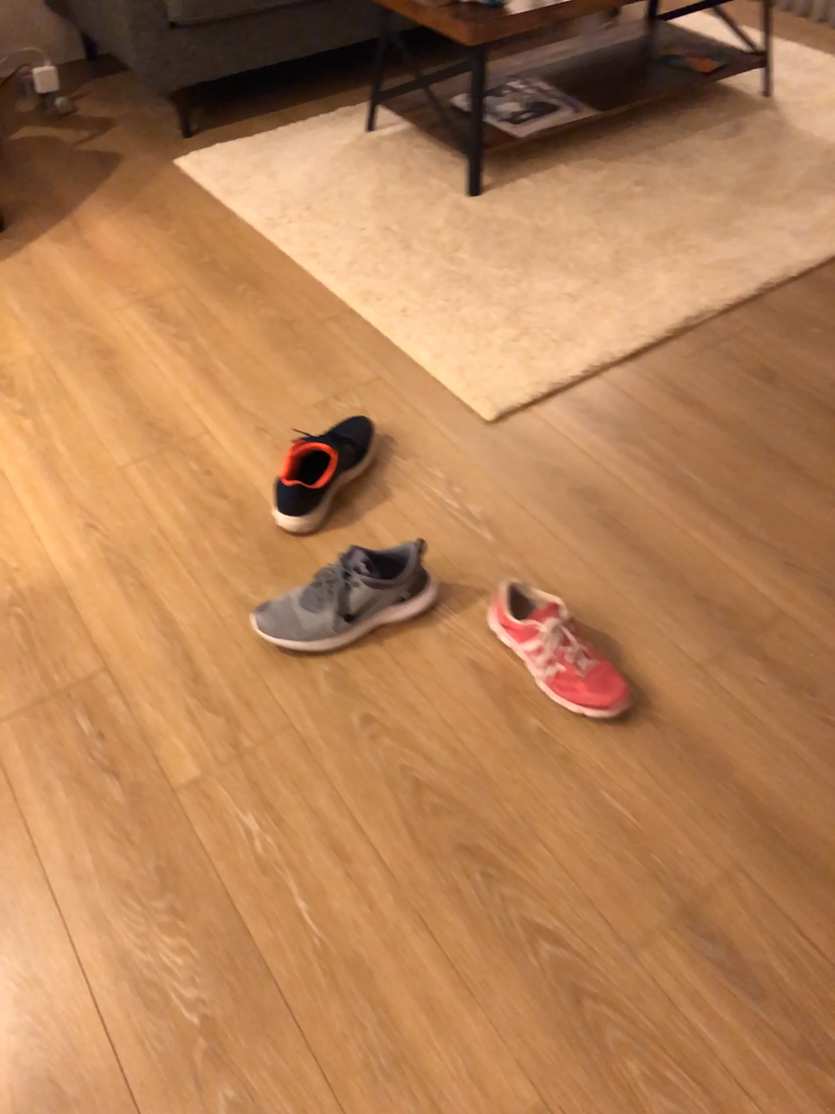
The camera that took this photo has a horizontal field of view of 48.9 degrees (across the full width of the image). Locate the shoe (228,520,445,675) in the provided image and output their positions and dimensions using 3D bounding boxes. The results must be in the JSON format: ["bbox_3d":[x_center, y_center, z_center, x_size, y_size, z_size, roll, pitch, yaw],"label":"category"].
[{"bbox_3d":[-0.123,0.061,1.431,0.306,0.109,0.131,-14,47,-11],"label":"shoe"}]

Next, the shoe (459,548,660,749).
[{"bbox_3d":[0.203,0.129,1.374,0.140,0.090,0.281,-28,52,-23],"label":"shoe"}]

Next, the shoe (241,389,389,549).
[{"bbox_3d":[-0.176,-0.167,1.667,0.130,0.099,0.301,17,49,17],"label":"shoe"}]
